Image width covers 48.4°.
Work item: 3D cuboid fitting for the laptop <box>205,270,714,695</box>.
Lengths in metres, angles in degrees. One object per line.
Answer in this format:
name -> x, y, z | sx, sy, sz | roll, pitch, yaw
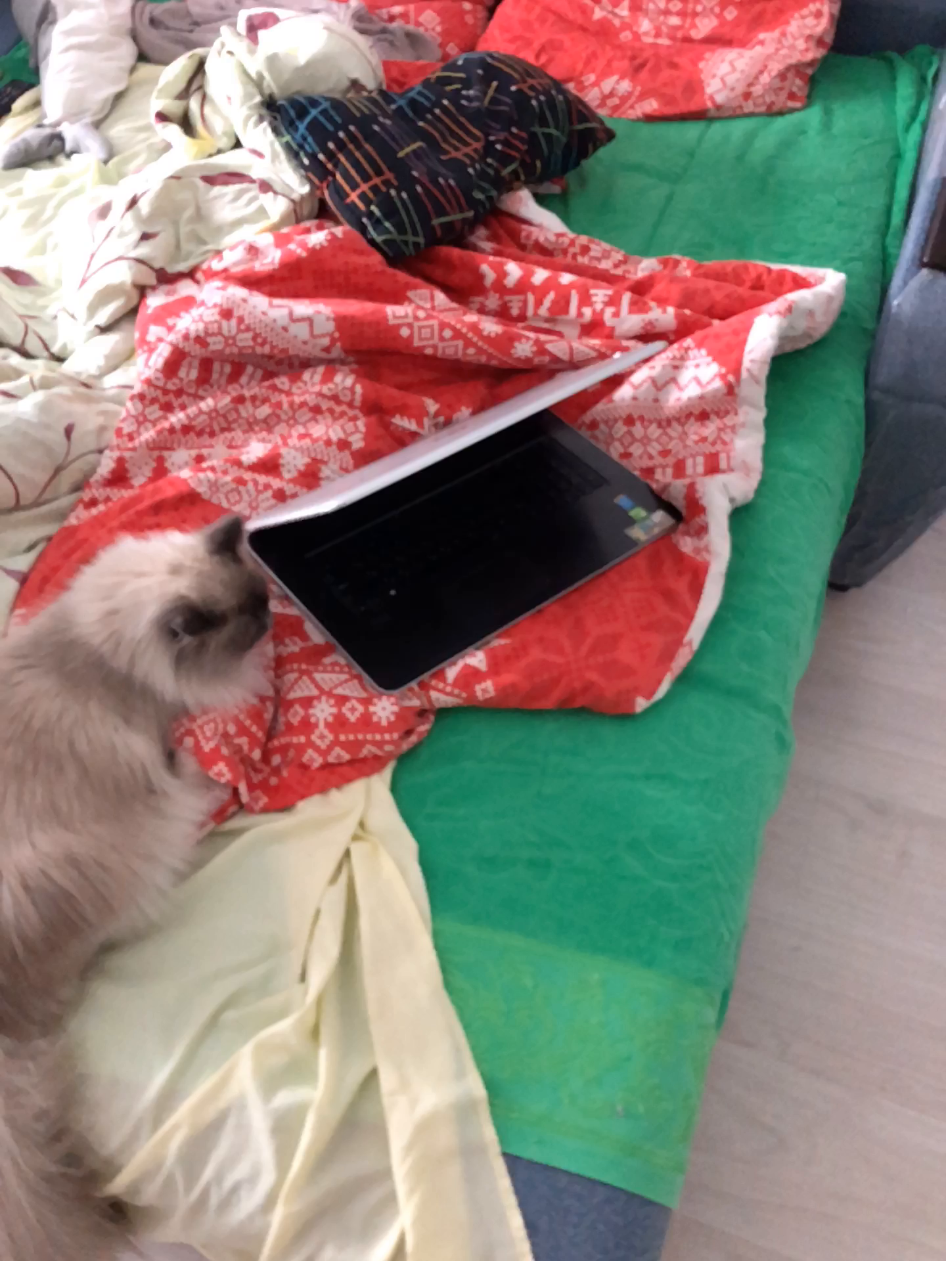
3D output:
laptop -> -0.006, -0.171, 1.092 | 0.414, 0.176, 0.277 | -30, 57, -24
